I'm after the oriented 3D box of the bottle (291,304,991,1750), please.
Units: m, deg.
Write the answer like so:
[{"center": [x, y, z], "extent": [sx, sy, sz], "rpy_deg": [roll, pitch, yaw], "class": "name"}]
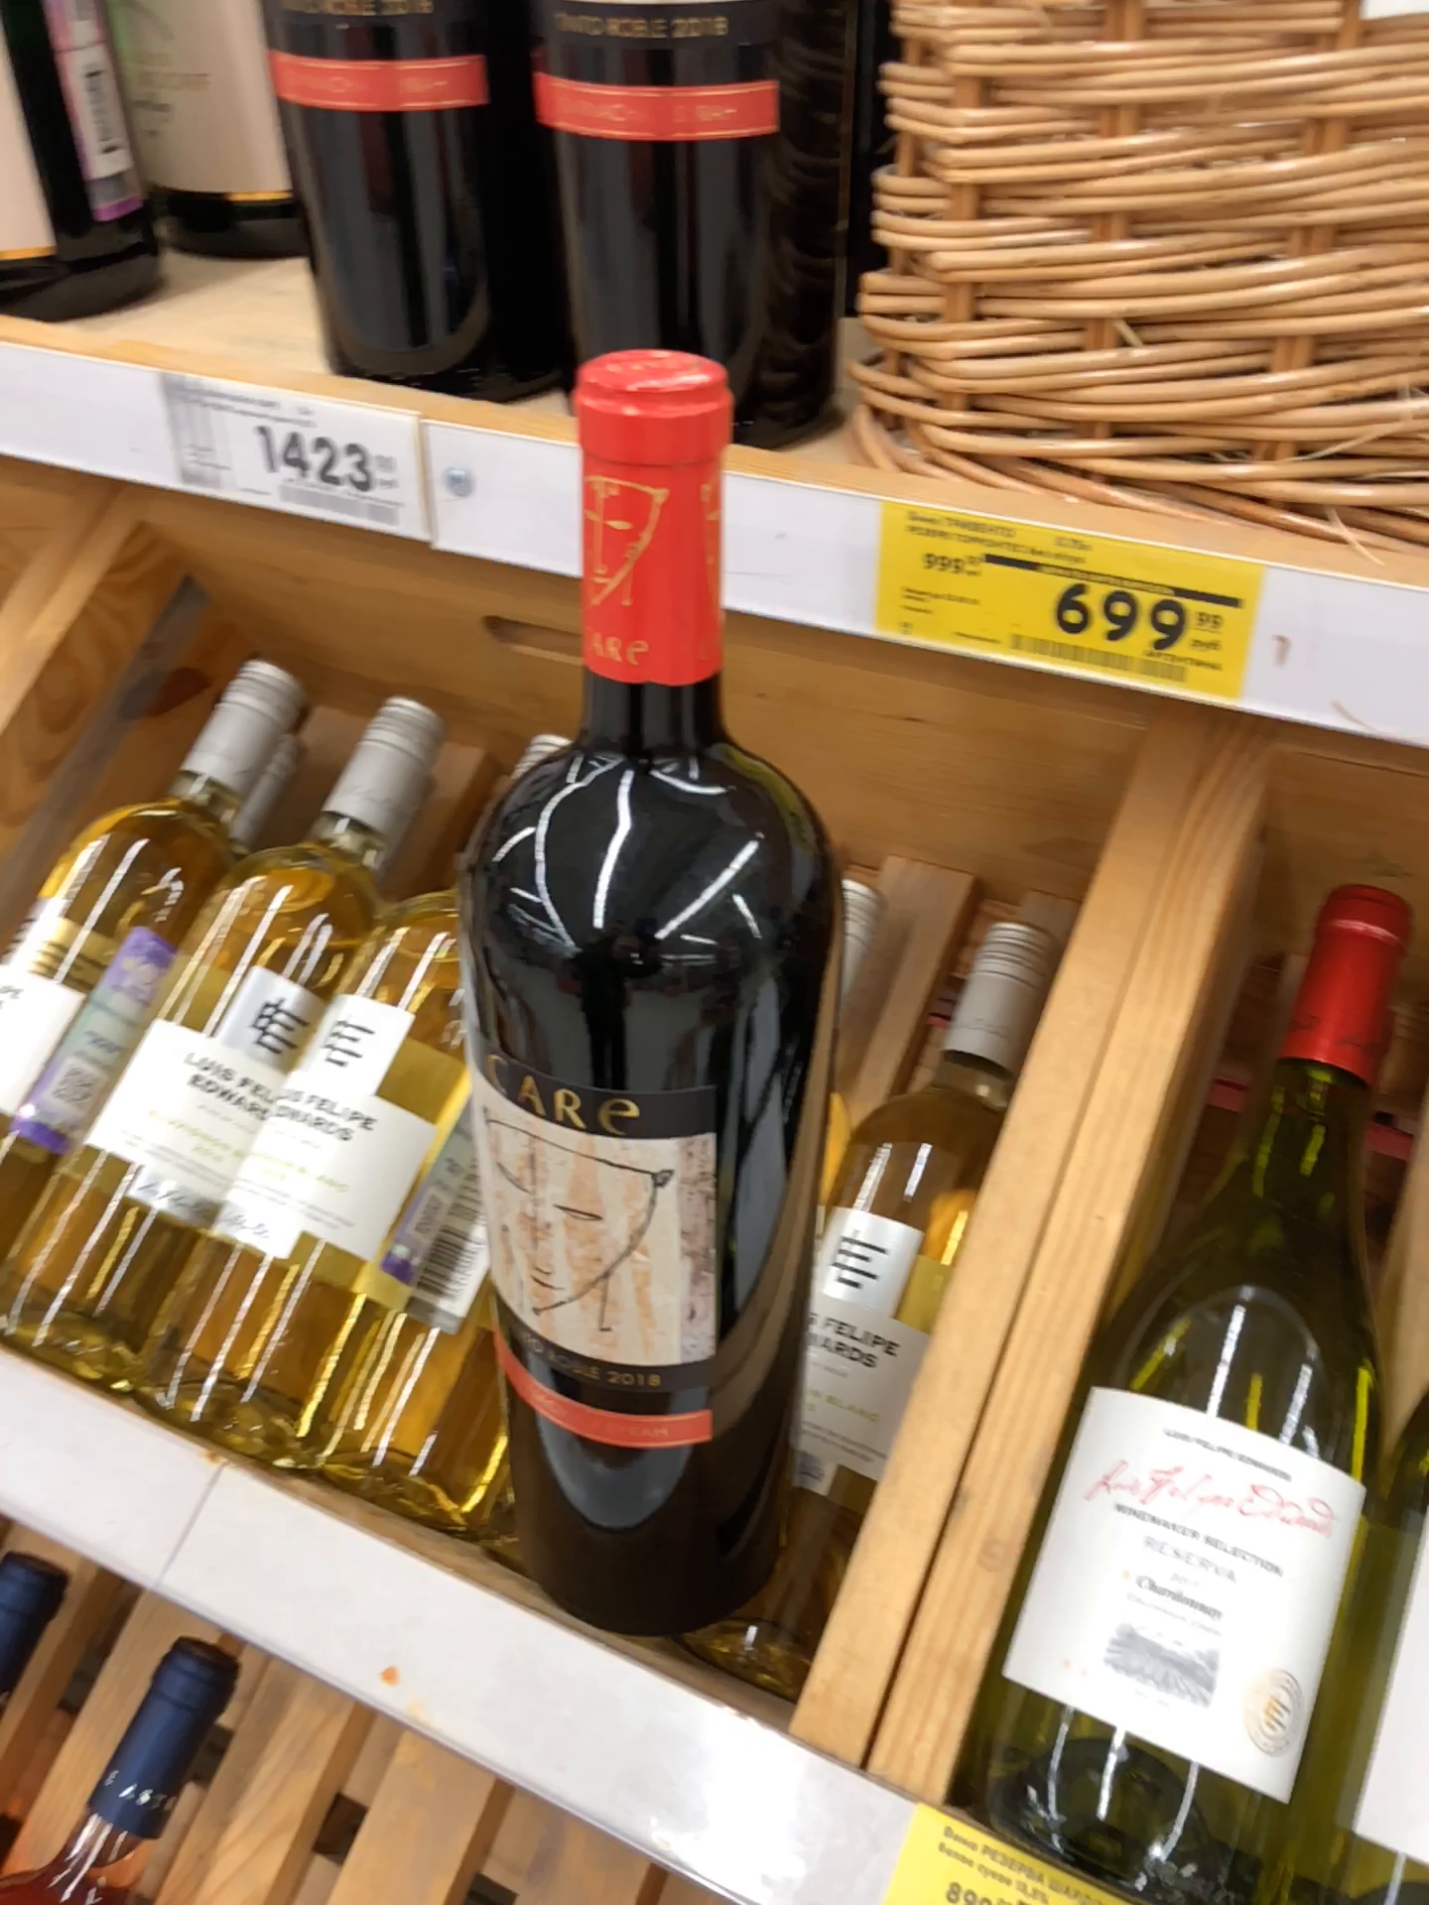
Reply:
[{"center": [-0.016, 0.037, 0.406], "extent": [0.100, 0.358, 0.100], "rpy_deg": [1, 32, -1], "class": "bottle"}]
